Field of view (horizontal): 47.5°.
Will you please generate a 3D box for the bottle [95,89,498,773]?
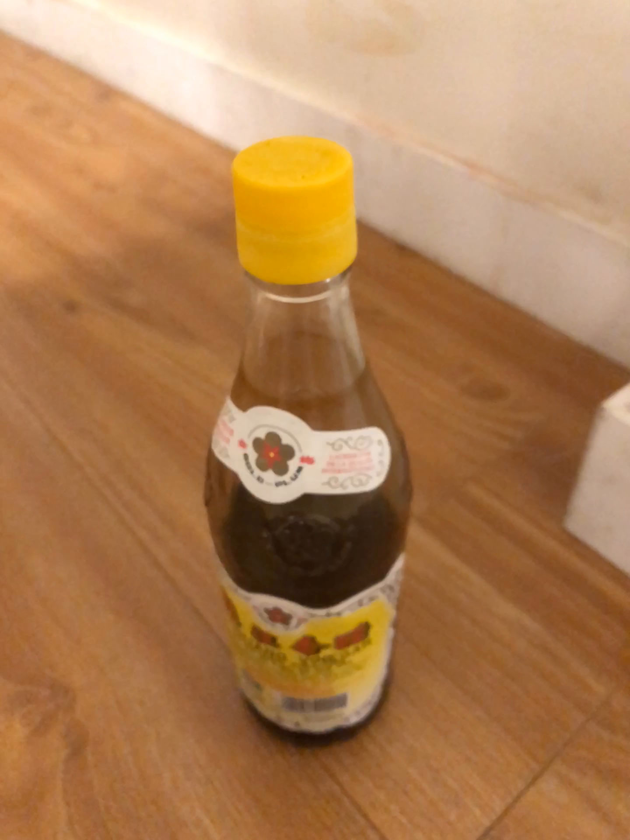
[{"bbox_3d":[0.001,0.025,0.239,0.070,0.228,0.070,-1,43,0],"label":"bottle"}]
